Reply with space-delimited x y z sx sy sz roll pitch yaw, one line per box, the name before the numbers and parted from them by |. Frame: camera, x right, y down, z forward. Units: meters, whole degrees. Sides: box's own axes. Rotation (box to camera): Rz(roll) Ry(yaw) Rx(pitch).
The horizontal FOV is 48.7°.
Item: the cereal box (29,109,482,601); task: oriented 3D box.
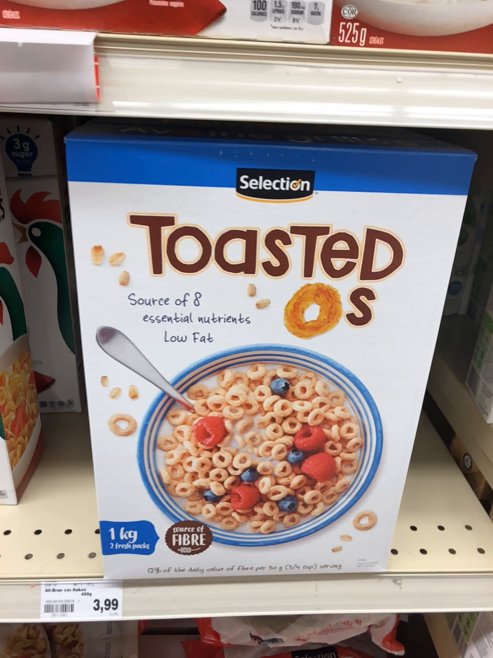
cereal box | -0.004 0.018 0.428 0.240 0.338 0.161 0 24 -5
